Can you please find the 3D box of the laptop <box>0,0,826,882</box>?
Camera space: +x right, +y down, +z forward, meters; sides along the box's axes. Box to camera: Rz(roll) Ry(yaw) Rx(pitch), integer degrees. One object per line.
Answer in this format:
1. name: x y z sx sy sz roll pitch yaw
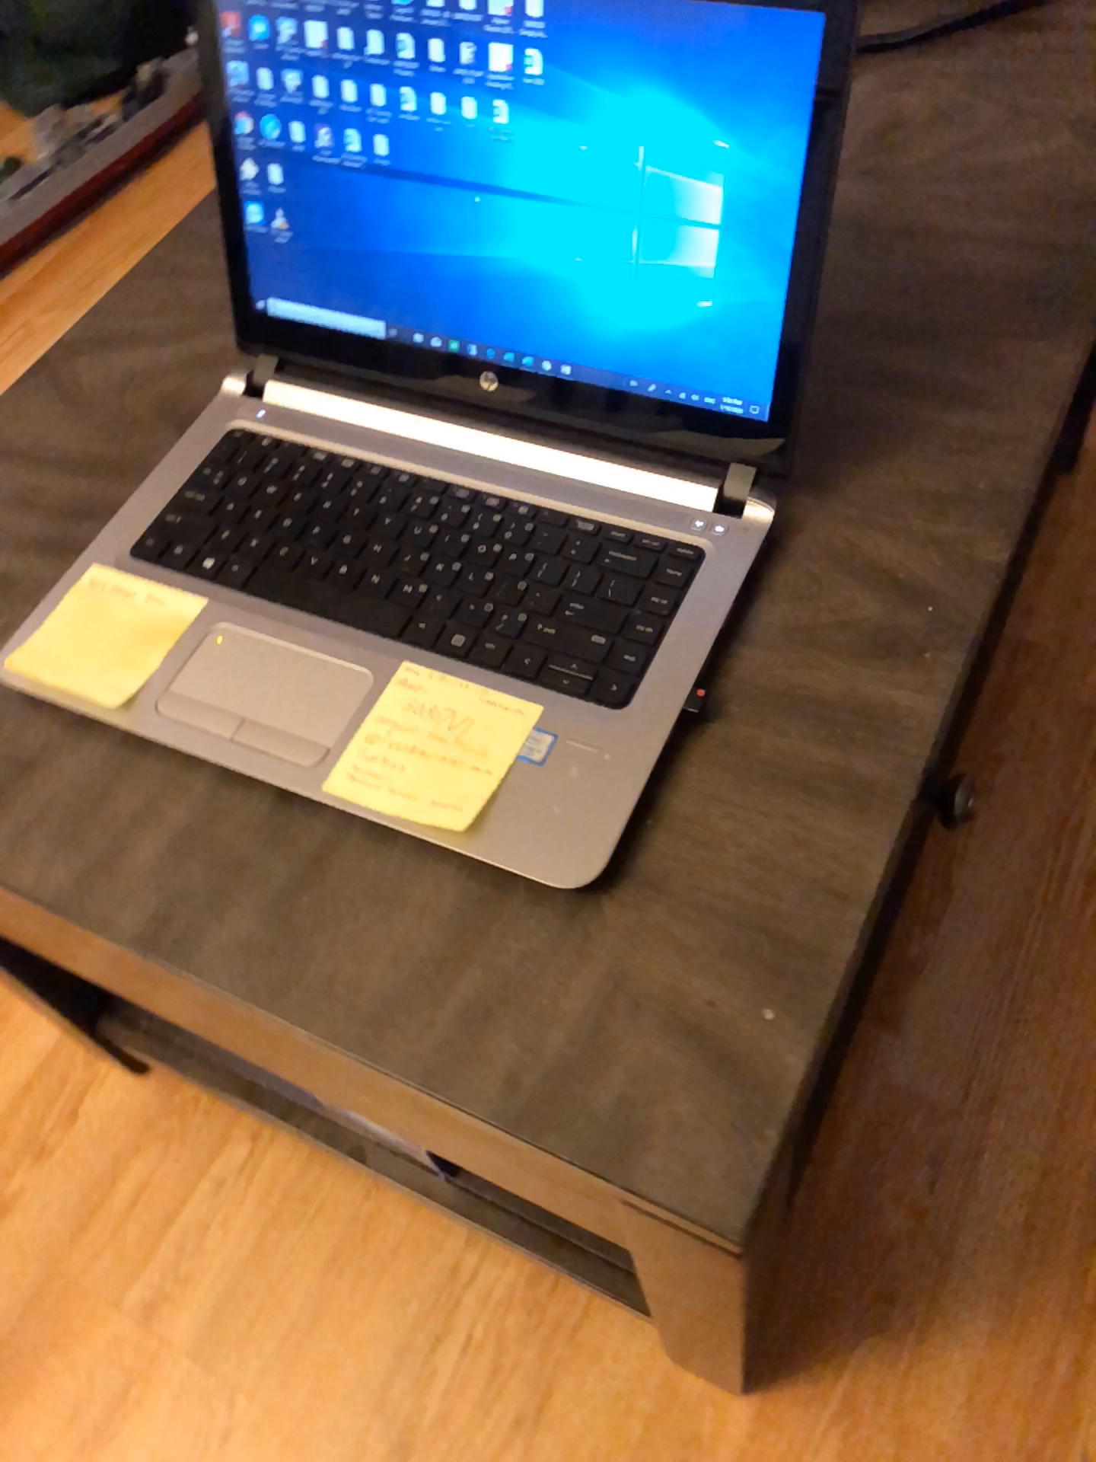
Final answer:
1. laptop: -0.085 -0.163 0.533 0.316 0.203 0.314 18 60 20
